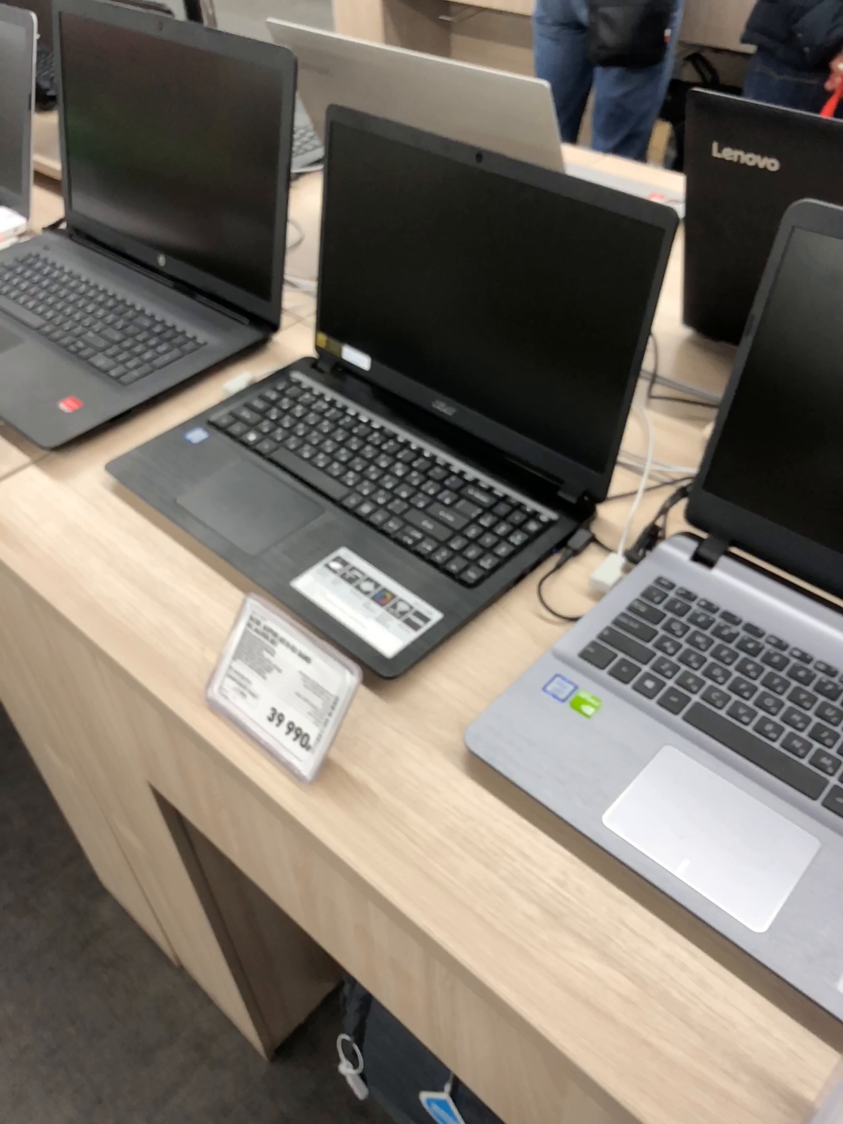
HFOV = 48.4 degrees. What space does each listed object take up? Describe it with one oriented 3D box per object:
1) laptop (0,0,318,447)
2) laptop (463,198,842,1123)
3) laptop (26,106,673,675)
[{"bbox_3d":[-0.357,-0.370,0.925,0.354,0.226,0.346,30,54,27],"label":"laptop"},{"bbox_3d":[0.253,0.014,0.494,0.327,0.218,0.325,32,56,33],"label":"laptop"},{"bbox_3d":[-0.051,-0.159,0.720,0.347,0.219,0.291,32,54,32],"label":"laptop"}]
